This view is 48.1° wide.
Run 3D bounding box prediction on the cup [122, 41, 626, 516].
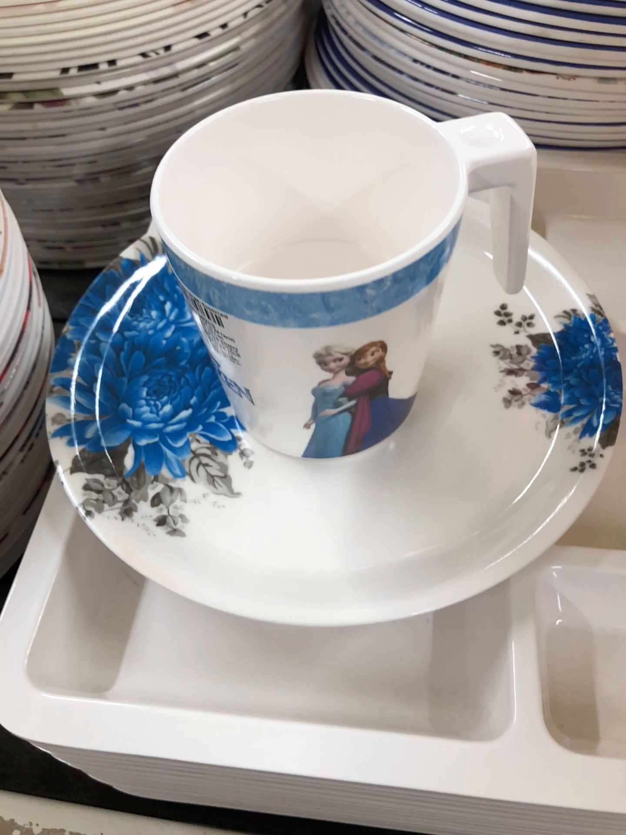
[{"bbox_3d":[0.013,-0.038,0.207,0.110,0.090,0.080,-12,56,-6],"label":"cup"}]
